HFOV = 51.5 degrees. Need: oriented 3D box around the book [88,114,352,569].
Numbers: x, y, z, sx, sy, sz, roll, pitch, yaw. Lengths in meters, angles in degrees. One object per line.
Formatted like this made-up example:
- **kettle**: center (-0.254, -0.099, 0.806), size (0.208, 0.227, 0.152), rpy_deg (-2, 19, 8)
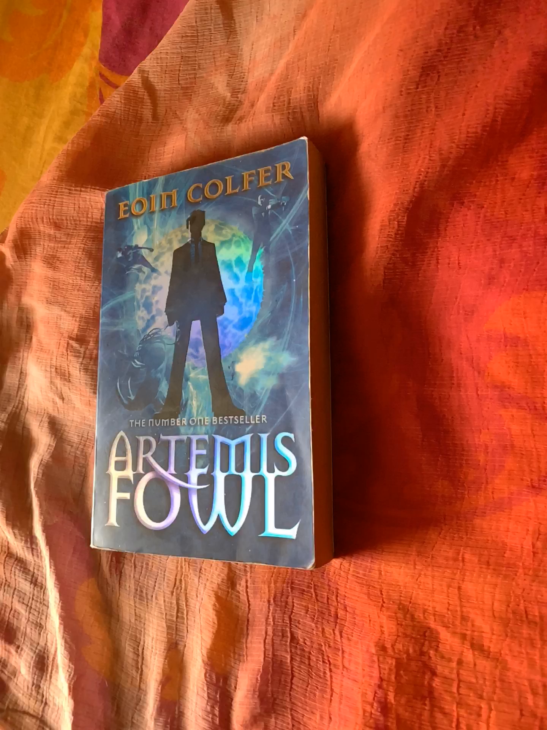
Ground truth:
- **book**: center (-0.031, -0.008, 0.279), size (0.131, 0.030, 0.190), rpy_deg (-4, 83, 28)
